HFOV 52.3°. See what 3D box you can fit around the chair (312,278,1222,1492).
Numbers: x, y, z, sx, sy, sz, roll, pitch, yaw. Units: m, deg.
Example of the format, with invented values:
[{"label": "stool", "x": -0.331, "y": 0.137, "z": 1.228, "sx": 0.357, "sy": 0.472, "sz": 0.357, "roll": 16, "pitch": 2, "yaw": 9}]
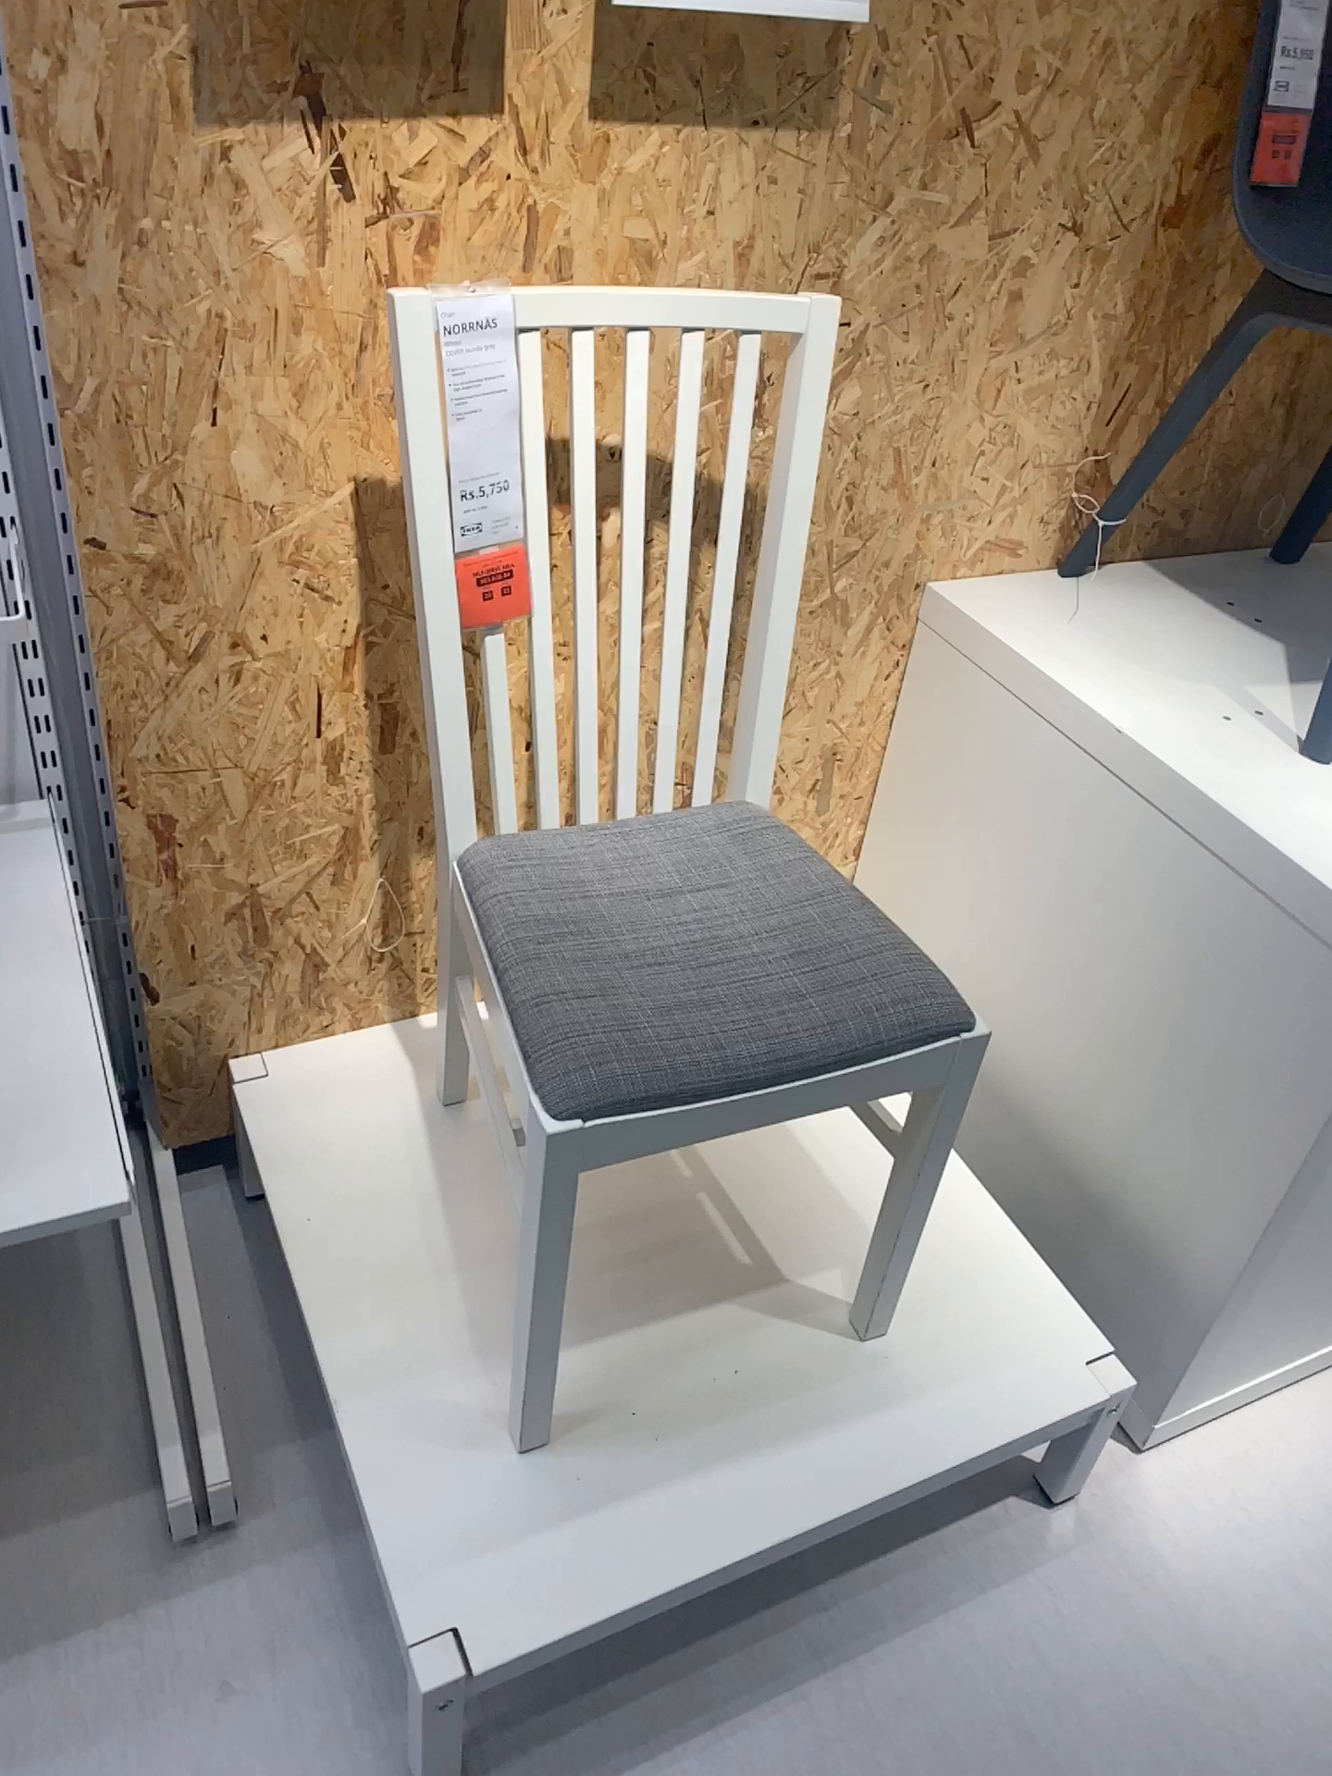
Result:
[{"label": "chair", "x": -0.016, "y": -0.015, "z": 1.275, "sx": 0.470, "sy": 0.896, "sz": 0.592, "roll": -9, "pitch": 40, "yaw": -22}]
